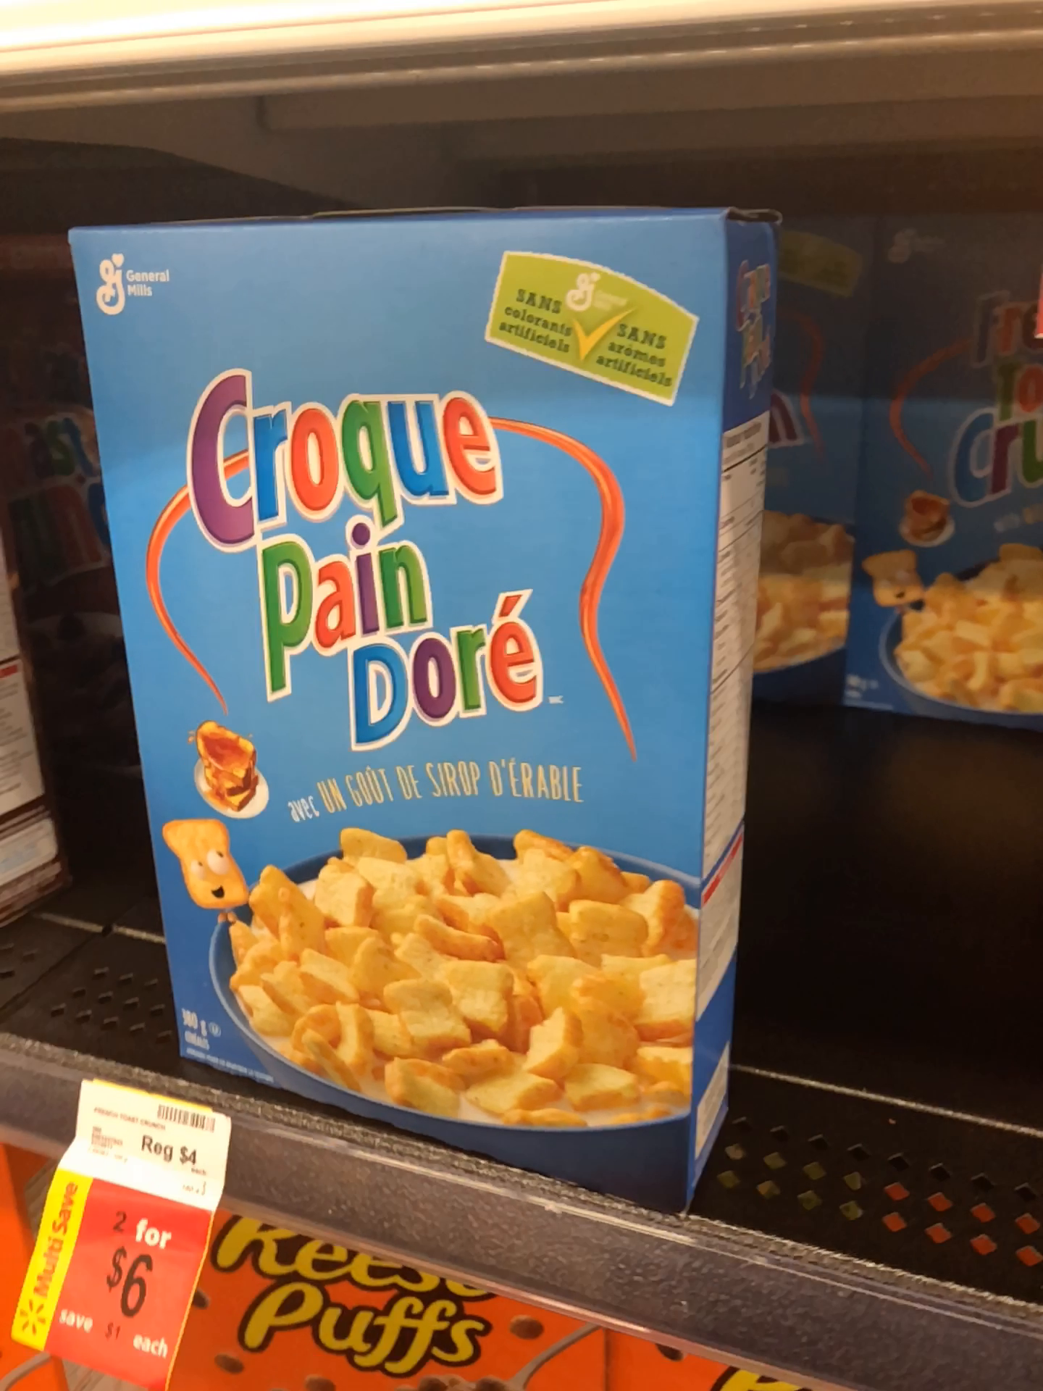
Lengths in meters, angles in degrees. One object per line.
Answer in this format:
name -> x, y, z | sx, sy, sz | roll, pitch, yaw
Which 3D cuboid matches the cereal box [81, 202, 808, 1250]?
cereal box -> -0.026, 0.007, 0.374 | 0.200, 0.298, 0.060 | 9, 21, 23
